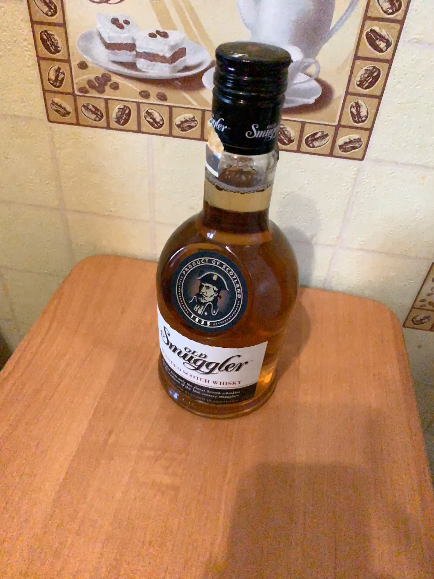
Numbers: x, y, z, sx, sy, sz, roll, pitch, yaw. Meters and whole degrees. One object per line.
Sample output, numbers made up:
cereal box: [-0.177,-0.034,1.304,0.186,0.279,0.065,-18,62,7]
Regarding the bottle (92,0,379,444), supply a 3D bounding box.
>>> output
bottle: [0.004,-0.025,0.264,0.100,0.229,0.080,19,42,16]
